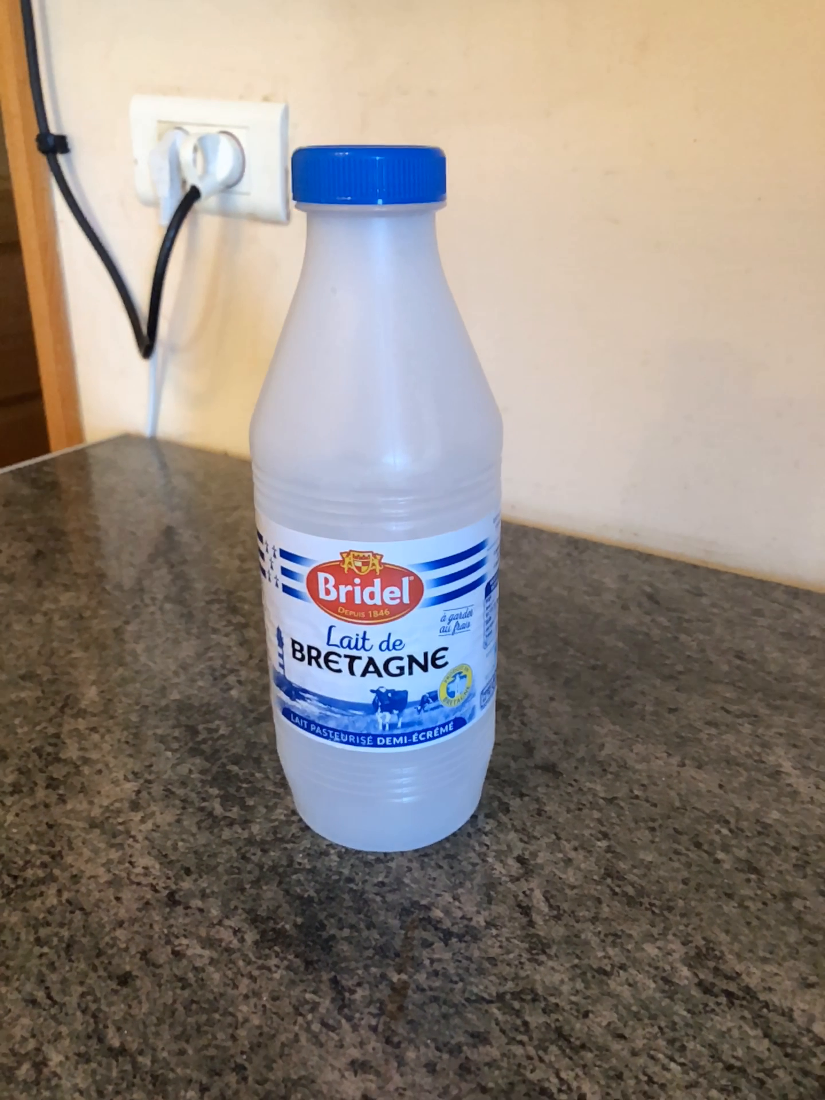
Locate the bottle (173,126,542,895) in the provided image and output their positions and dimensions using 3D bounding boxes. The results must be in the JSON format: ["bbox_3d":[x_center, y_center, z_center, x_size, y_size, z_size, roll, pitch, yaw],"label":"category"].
[{"bbox_3d":[-0.011,-0.013,0.316,0.090,0.239,0.091,1,23,0],"label":"bottle"}]
